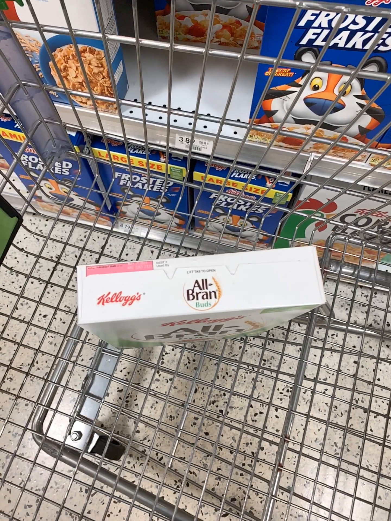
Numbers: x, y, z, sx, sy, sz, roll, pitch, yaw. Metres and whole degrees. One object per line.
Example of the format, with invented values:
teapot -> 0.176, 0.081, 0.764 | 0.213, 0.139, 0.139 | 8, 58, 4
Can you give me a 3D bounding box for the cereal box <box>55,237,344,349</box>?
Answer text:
cereal box -> -0.003, 0.053, 0.427 | 0.200, 0.299, 0.050 | -4, 75, -3
